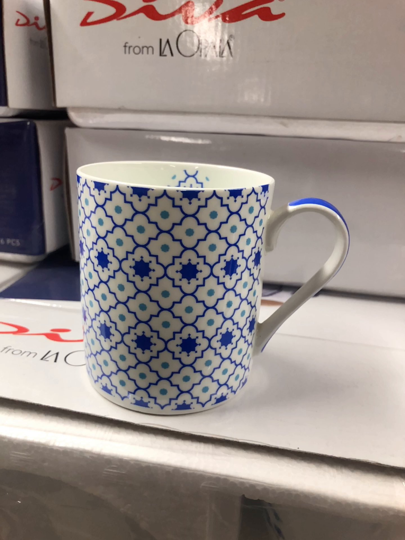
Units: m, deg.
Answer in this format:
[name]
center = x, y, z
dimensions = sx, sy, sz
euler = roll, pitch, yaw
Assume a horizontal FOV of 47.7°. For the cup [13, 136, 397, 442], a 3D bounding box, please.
[cup]
center = 0.001, -0.002, 0.164
dimensions = 0.100, 0.080, 0.070
euler = 5, 21, 7
